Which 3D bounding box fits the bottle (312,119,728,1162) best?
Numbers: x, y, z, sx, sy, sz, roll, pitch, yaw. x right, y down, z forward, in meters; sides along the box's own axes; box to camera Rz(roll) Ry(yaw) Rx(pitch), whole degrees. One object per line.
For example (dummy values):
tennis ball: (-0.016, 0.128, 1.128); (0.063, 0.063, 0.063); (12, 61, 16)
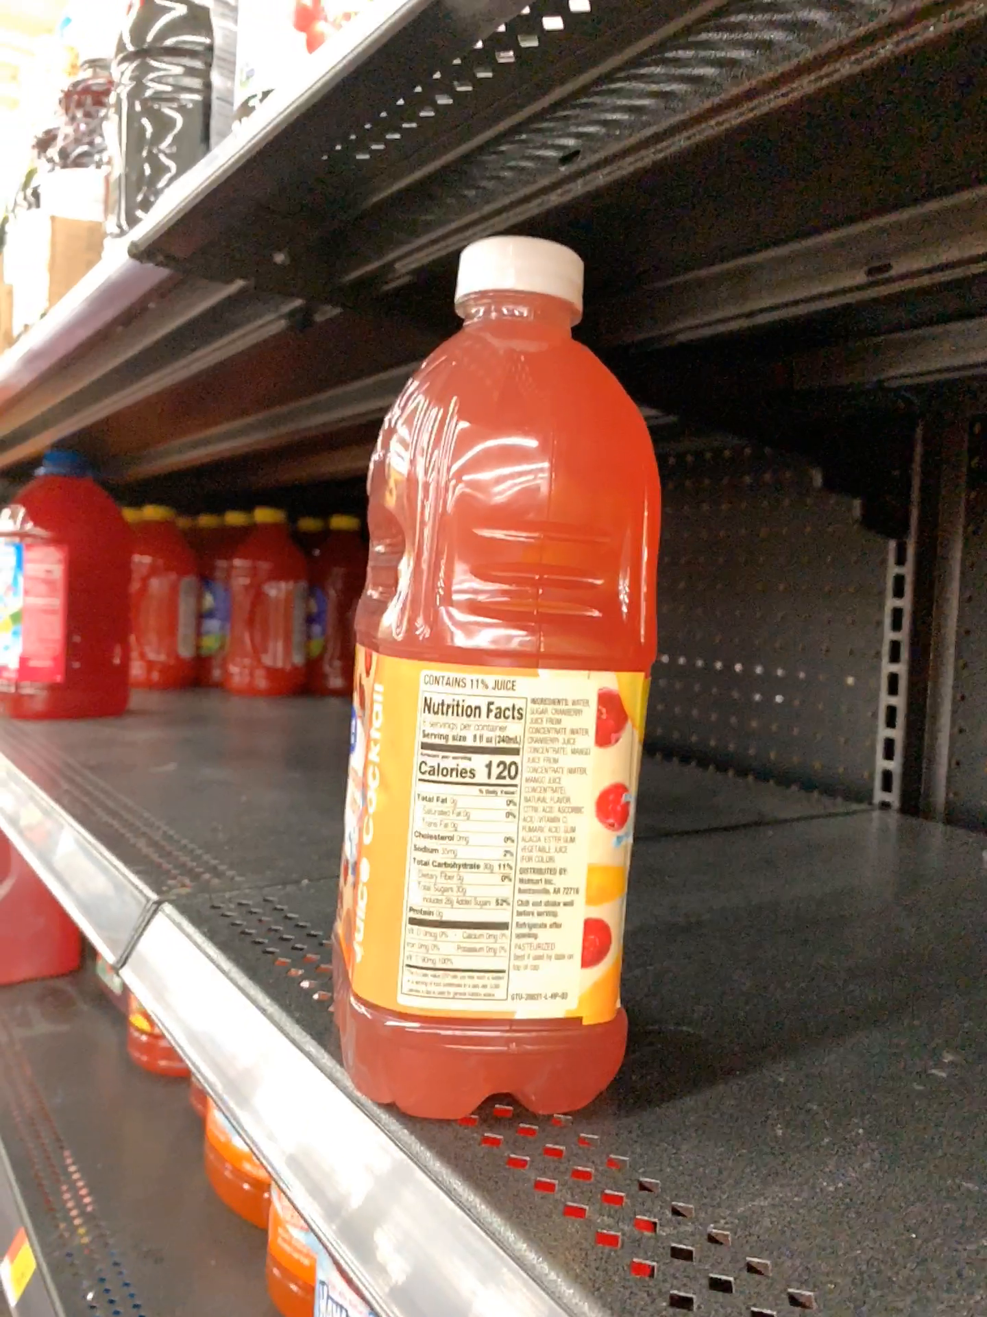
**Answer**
bottle: (-0.003, -0.004, 0.337); (0.101, 0.273, 0.119); (1, 4, -12)
